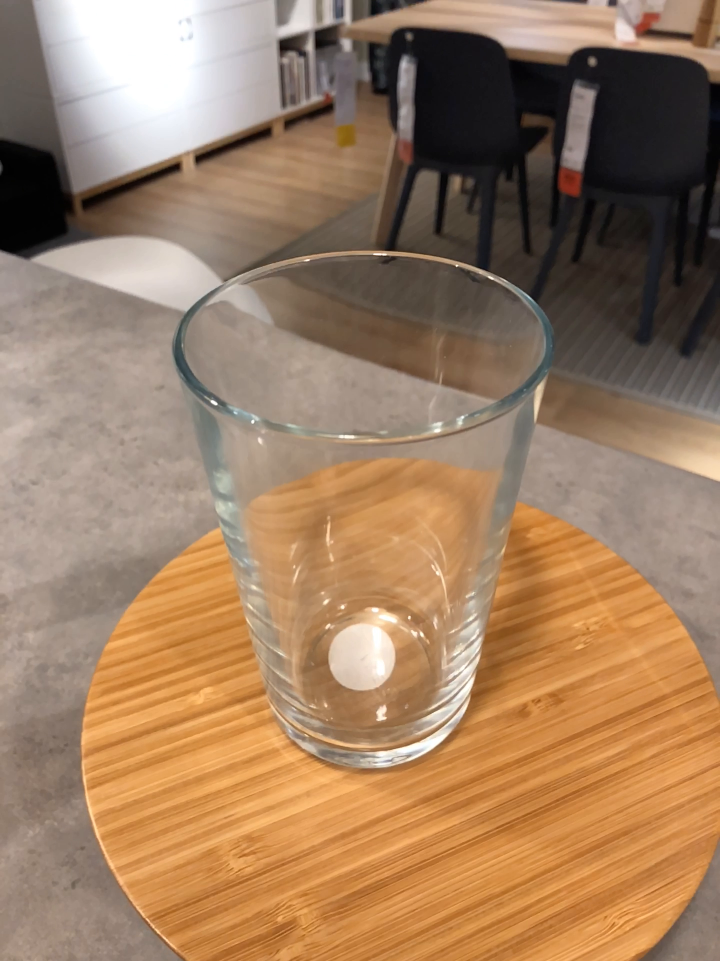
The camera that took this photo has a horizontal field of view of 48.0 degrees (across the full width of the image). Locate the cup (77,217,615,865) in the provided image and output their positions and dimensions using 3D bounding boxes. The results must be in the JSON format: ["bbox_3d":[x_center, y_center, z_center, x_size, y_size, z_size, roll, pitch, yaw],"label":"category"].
[{"bbox_3d":[0.003,0.014,0.241,0.100,0.139,0.100,0,38,0],"label":"cup"}]
